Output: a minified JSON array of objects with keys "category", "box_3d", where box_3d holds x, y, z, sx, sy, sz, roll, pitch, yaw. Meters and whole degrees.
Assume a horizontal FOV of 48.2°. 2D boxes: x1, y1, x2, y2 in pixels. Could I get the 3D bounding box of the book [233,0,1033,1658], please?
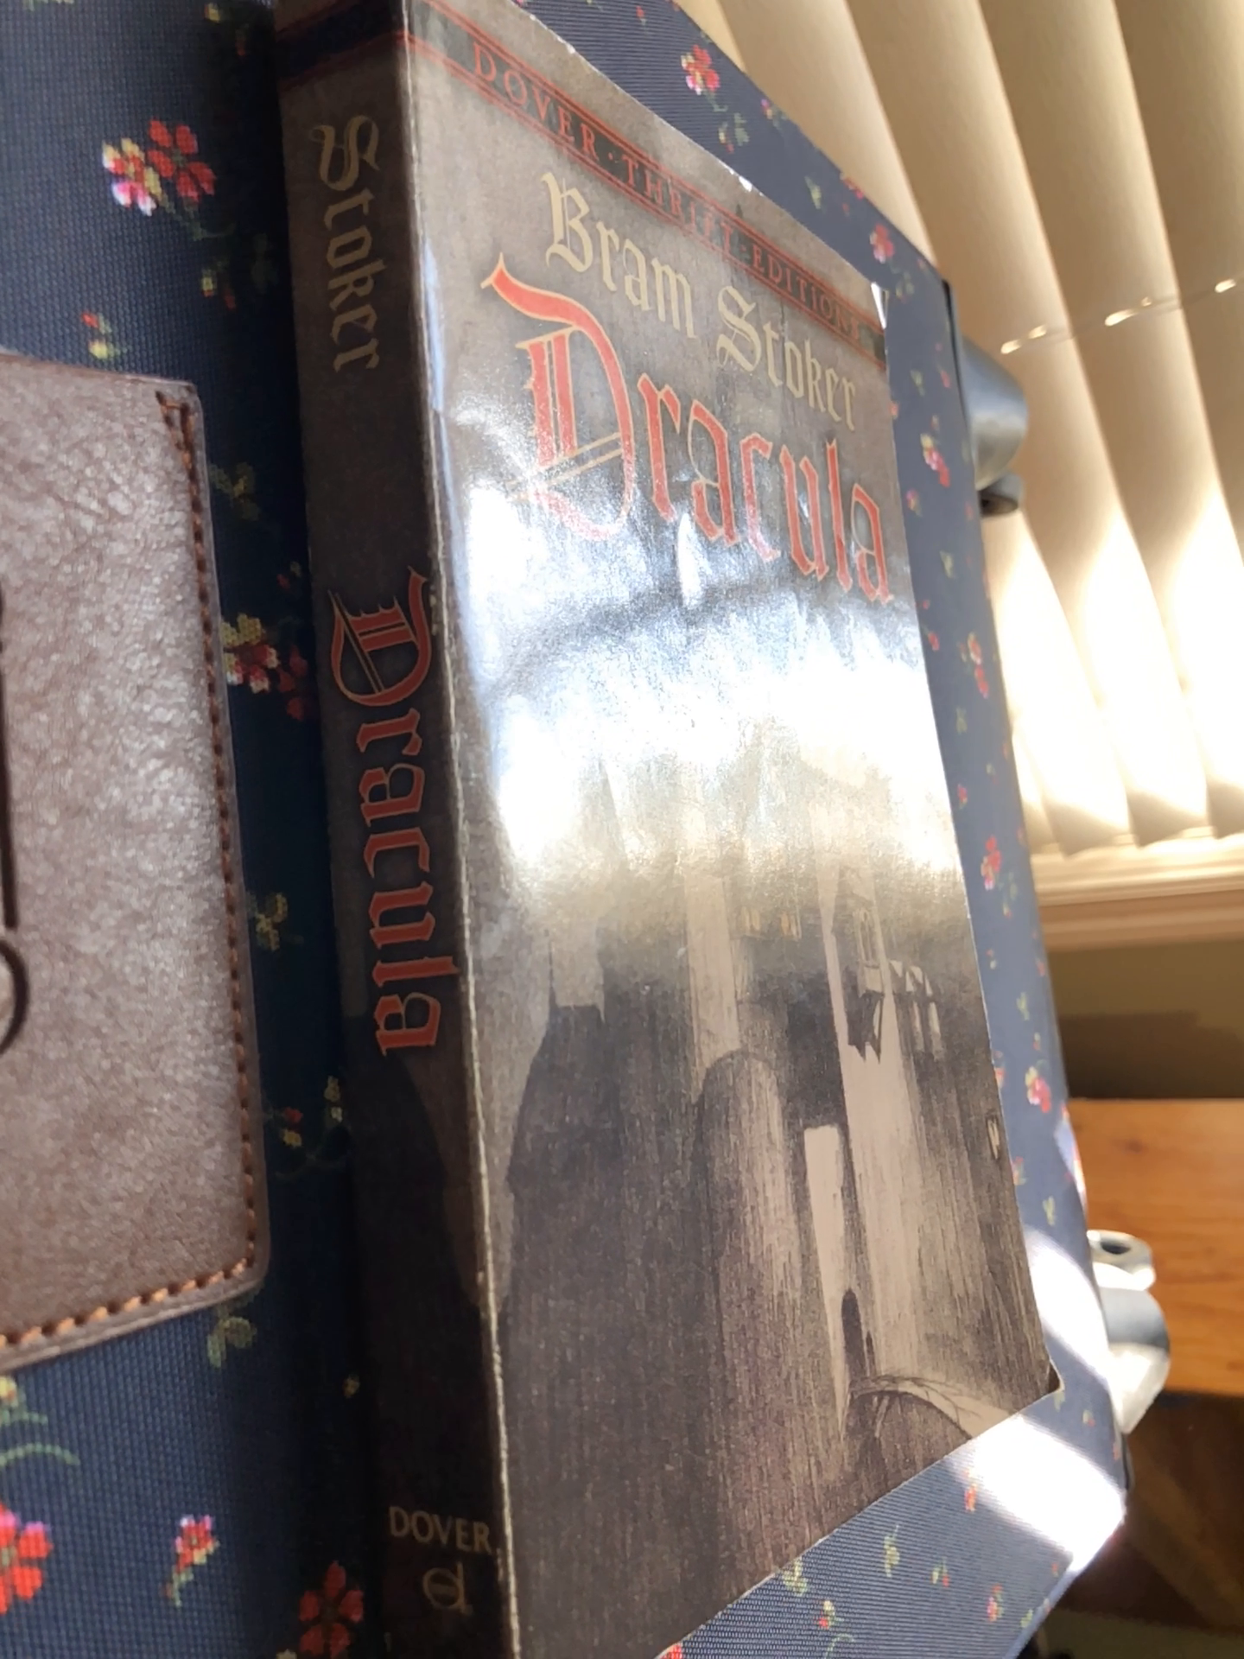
[{"category":"book","box_3d":[0.011,0.000,0.212,0.131,0.033,0.202,3,79,-54]}]
